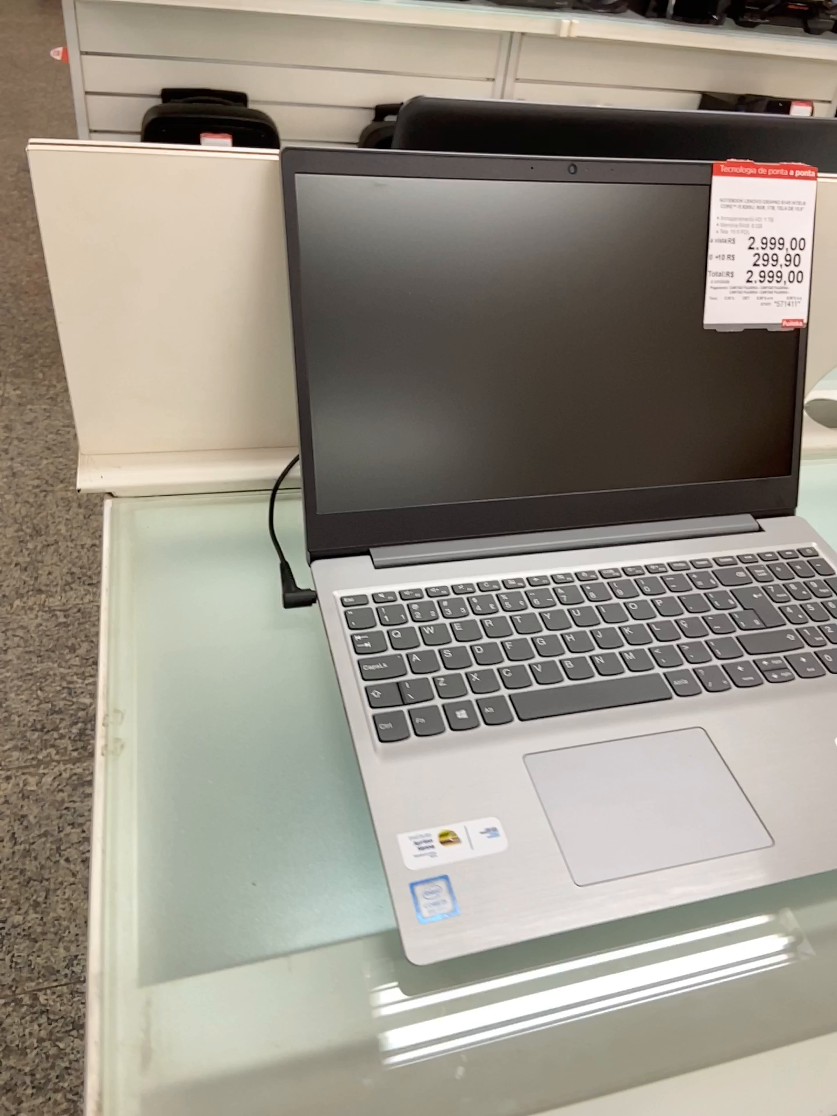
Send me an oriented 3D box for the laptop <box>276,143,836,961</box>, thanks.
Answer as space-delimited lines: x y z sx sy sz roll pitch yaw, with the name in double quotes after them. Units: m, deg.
0.129 -0.051 0.460 0.354 0.195 0.371 -5 43 -16 "laptop"
